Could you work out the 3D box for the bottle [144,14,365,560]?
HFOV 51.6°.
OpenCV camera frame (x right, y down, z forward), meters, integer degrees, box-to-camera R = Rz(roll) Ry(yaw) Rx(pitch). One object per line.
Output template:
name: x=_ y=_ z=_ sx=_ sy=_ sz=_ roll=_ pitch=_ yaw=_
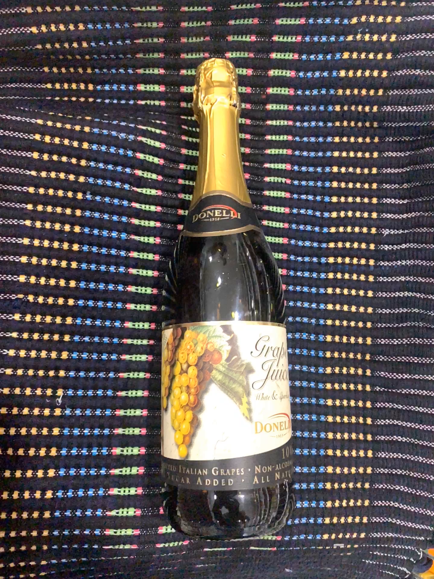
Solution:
bottle: x=0.008 y=-0.014 z=0.286 sx=0.090 sy=0.080 sz=0.300 roll=3 pitch=72 yaw=-20
